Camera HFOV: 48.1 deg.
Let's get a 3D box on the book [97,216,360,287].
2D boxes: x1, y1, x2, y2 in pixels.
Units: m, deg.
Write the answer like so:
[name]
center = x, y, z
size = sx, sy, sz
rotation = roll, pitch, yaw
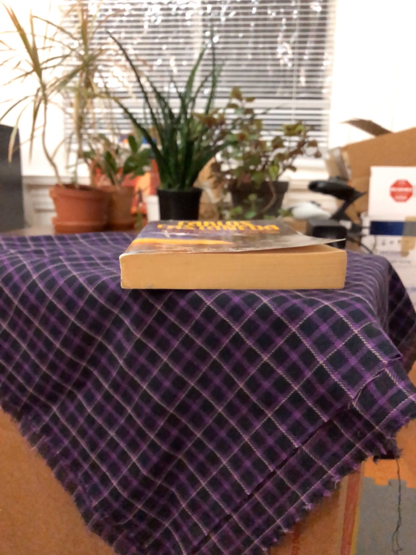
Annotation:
[book]
center = 0.009, -0.029, 0.375
size = 0.150, 0.020, 0.221
rotation = 0, 13, -2
